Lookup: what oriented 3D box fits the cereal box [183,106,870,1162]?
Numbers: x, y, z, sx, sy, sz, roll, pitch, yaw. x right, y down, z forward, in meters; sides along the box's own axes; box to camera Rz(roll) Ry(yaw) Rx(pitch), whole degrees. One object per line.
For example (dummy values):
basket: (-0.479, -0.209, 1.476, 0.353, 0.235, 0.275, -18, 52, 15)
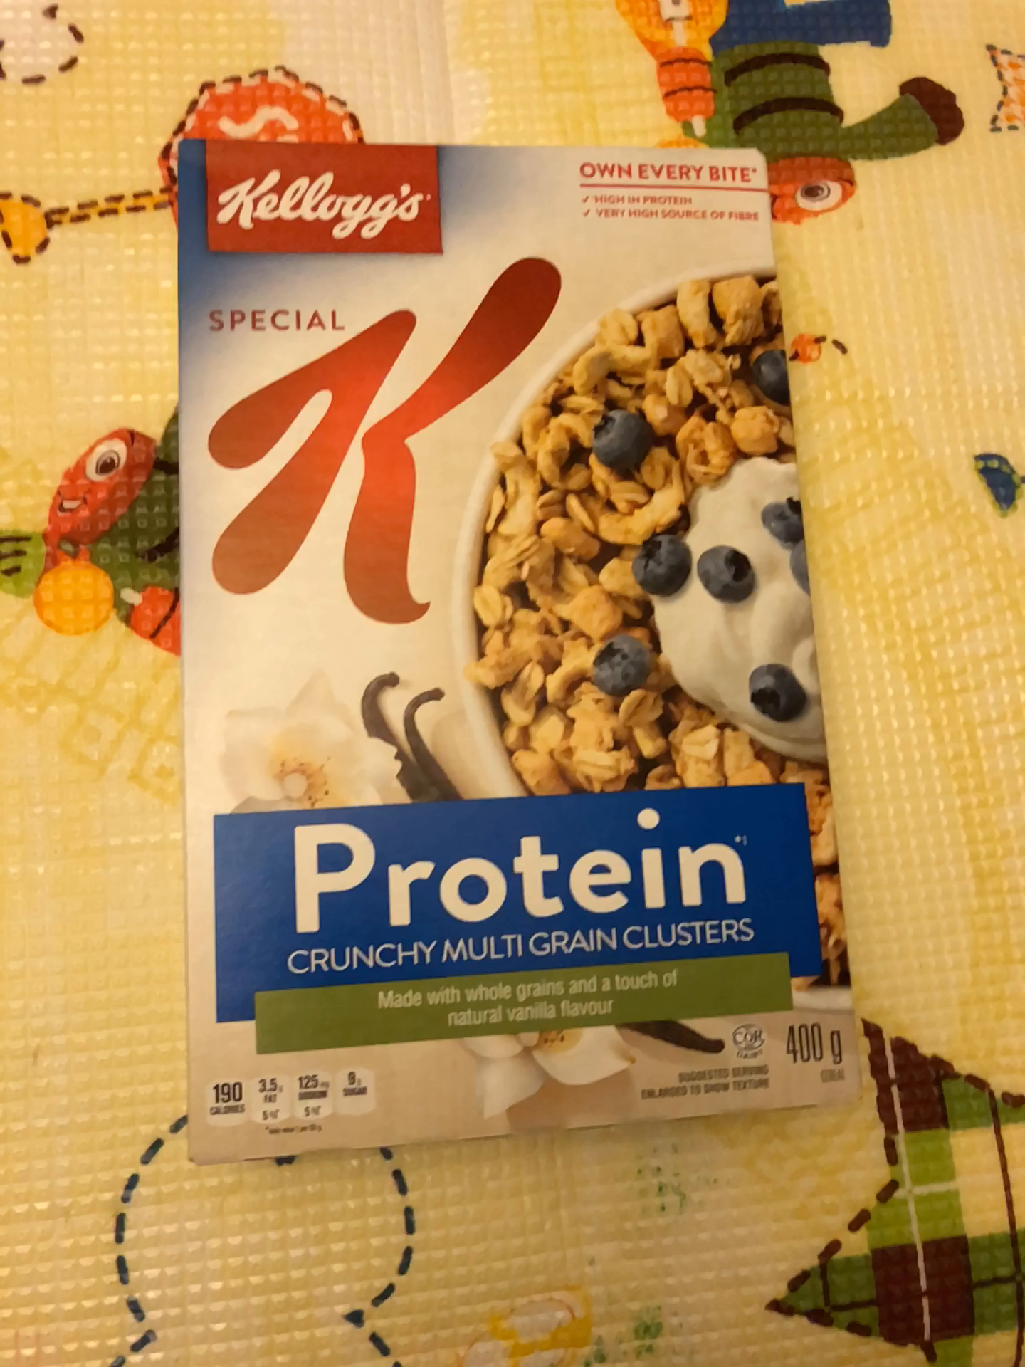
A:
cereal box: (-0.002, -0.017, 0.307, 0.160, 0.060, 0.250, -1, 82, -10)
